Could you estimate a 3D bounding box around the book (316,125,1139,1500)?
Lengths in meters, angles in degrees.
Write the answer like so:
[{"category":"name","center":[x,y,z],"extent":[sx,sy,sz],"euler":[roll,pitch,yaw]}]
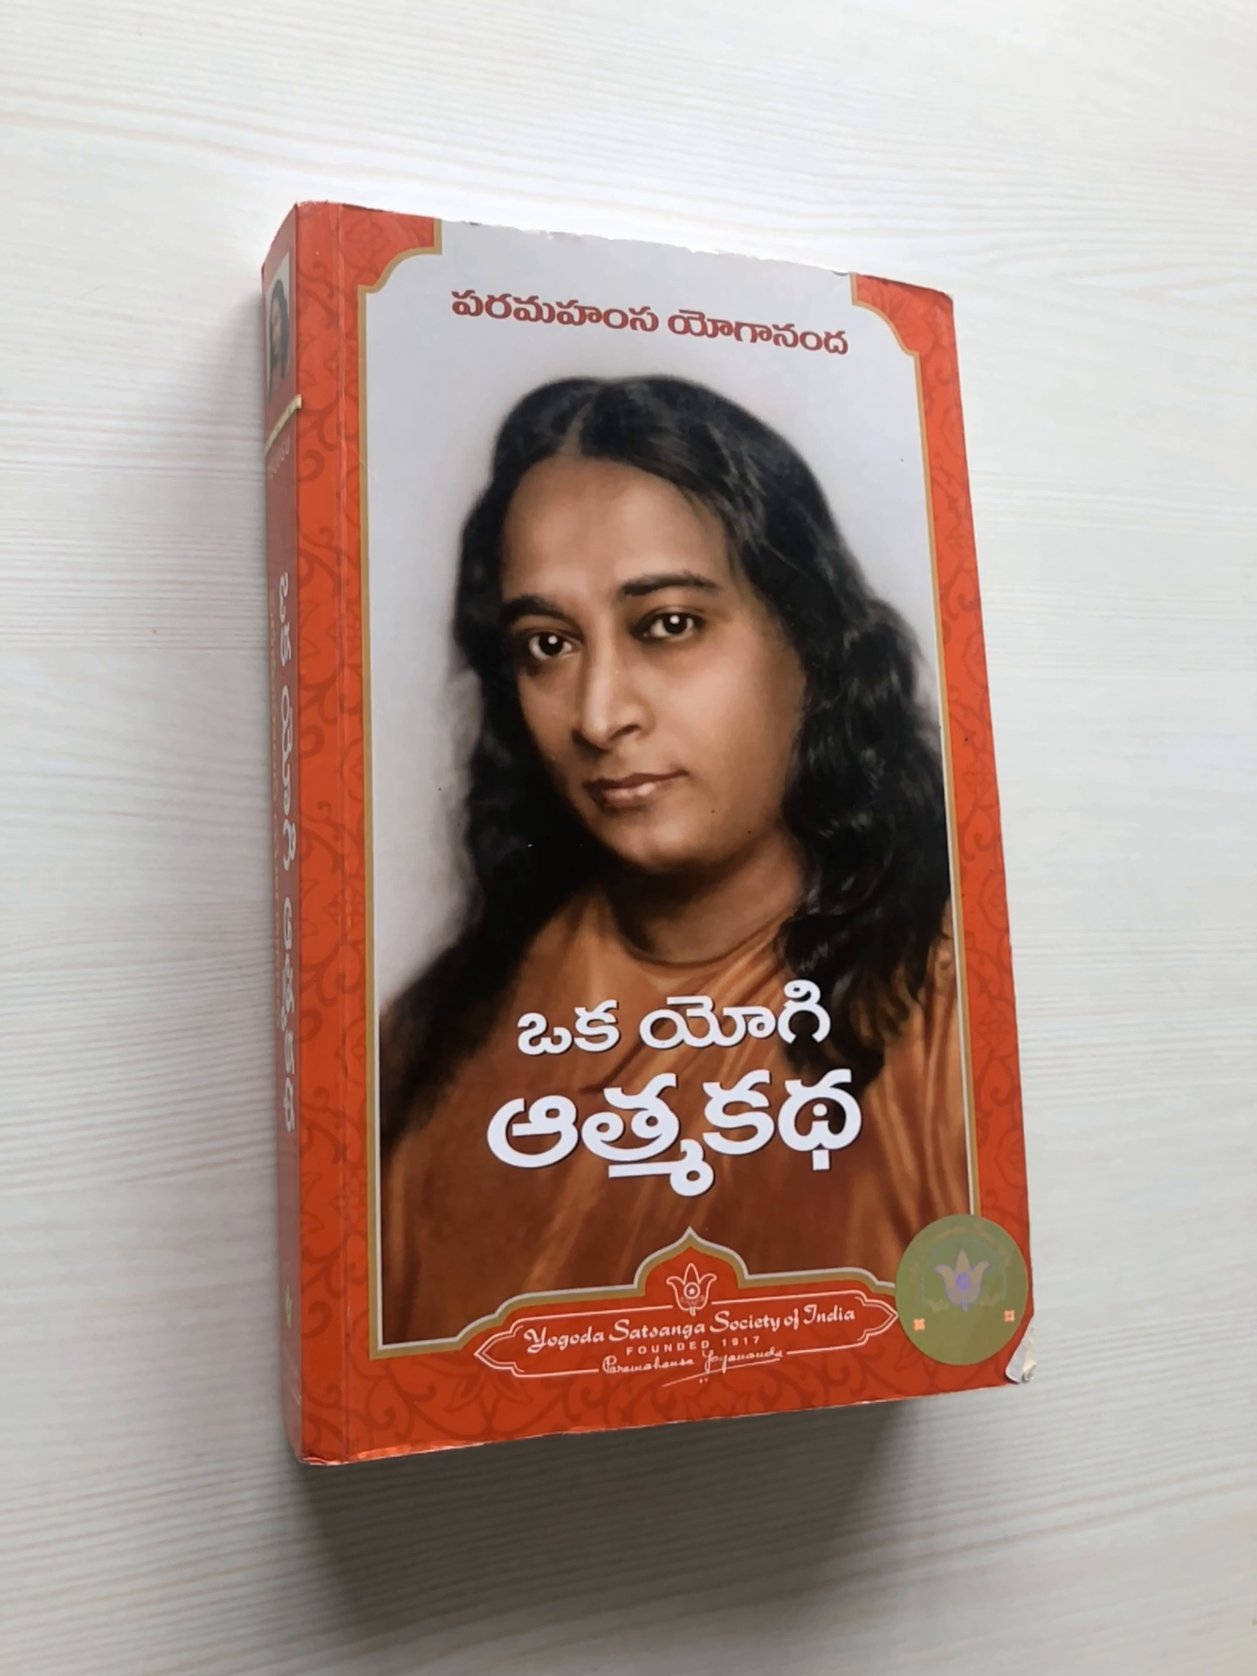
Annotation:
[{"category":"book","center":[0.017,-0.008,0.278],"extent":[0.150,0.040,0.233],"euler":[0,83,-18]}]
